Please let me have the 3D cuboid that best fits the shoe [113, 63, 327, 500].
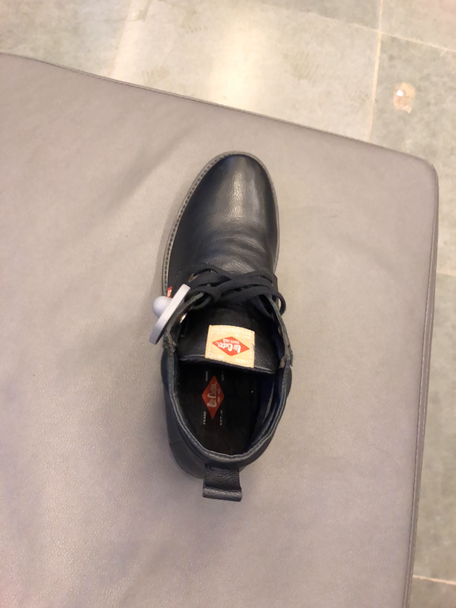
[{"bbox_3d":[-0.003,-0.009,0.394,0.111,0.149,0.284,7,72,-5],"label":"shoe"}]
